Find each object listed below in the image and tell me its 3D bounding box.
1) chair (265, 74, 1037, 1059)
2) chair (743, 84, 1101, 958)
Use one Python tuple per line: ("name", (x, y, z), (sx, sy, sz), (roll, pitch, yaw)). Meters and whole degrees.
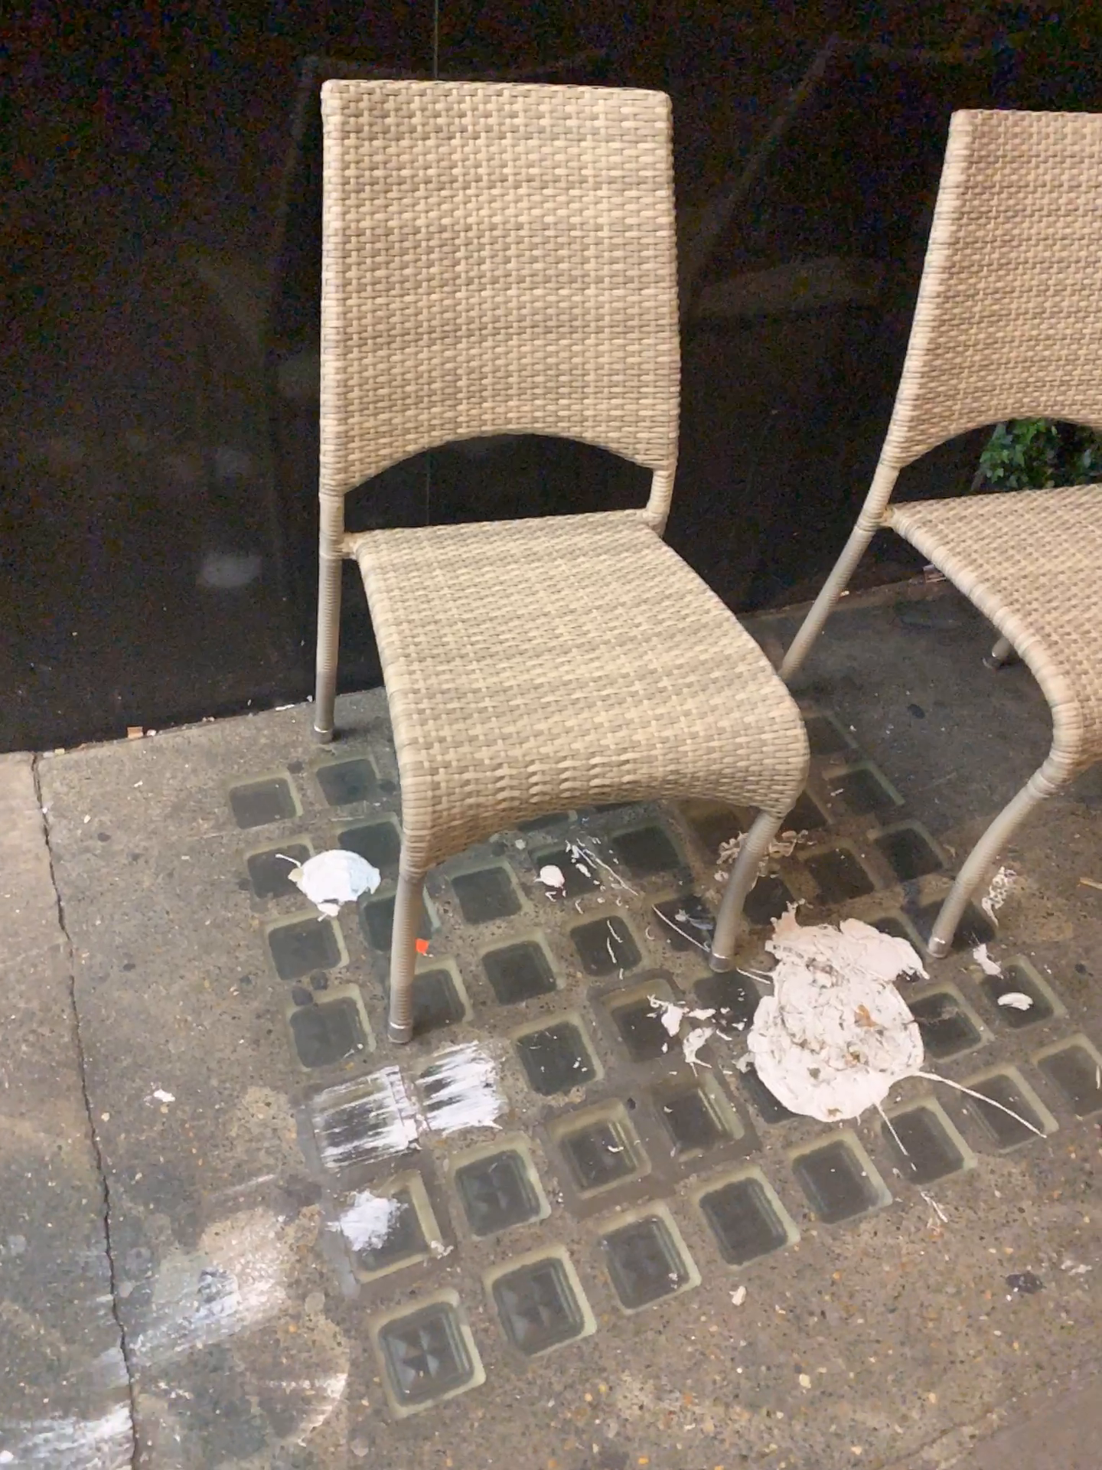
("chair", (-0.001, -0.172, 1.247), (0.481, 0.832, 0.615), (-9, 47, -15))
("chair", (0.712, -0.287, 1.476), (0.581, 0.901, 0.605), (-7, 39, -14))
